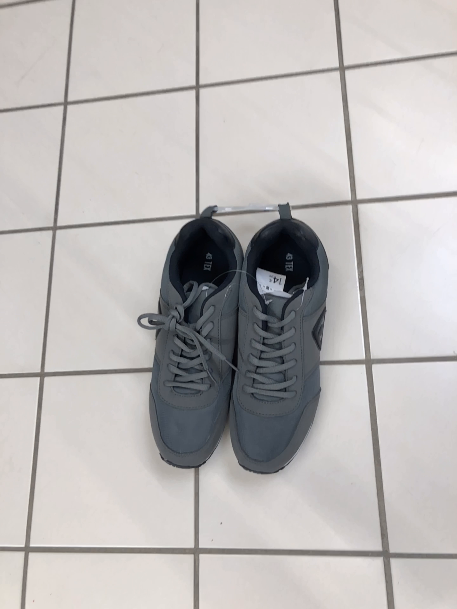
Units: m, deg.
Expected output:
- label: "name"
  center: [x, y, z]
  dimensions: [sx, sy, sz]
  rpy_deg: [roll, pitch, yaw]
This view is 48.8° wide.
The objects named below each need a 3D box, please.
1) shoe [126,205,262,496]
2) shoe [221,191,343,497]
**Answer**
- label: "shoe"
  center: [-0.028, 0.046, 0.553]
  dimensions: [0.100, 0.100, 0.290]
  rpy_deg: [2, 75, 11]
- label: "shoe"
  center: [0.063, 0.037, 0.527]
  dimensions: [0.100, 0.100, 0.290]
  rpy_deg: [2, 75, 11]
